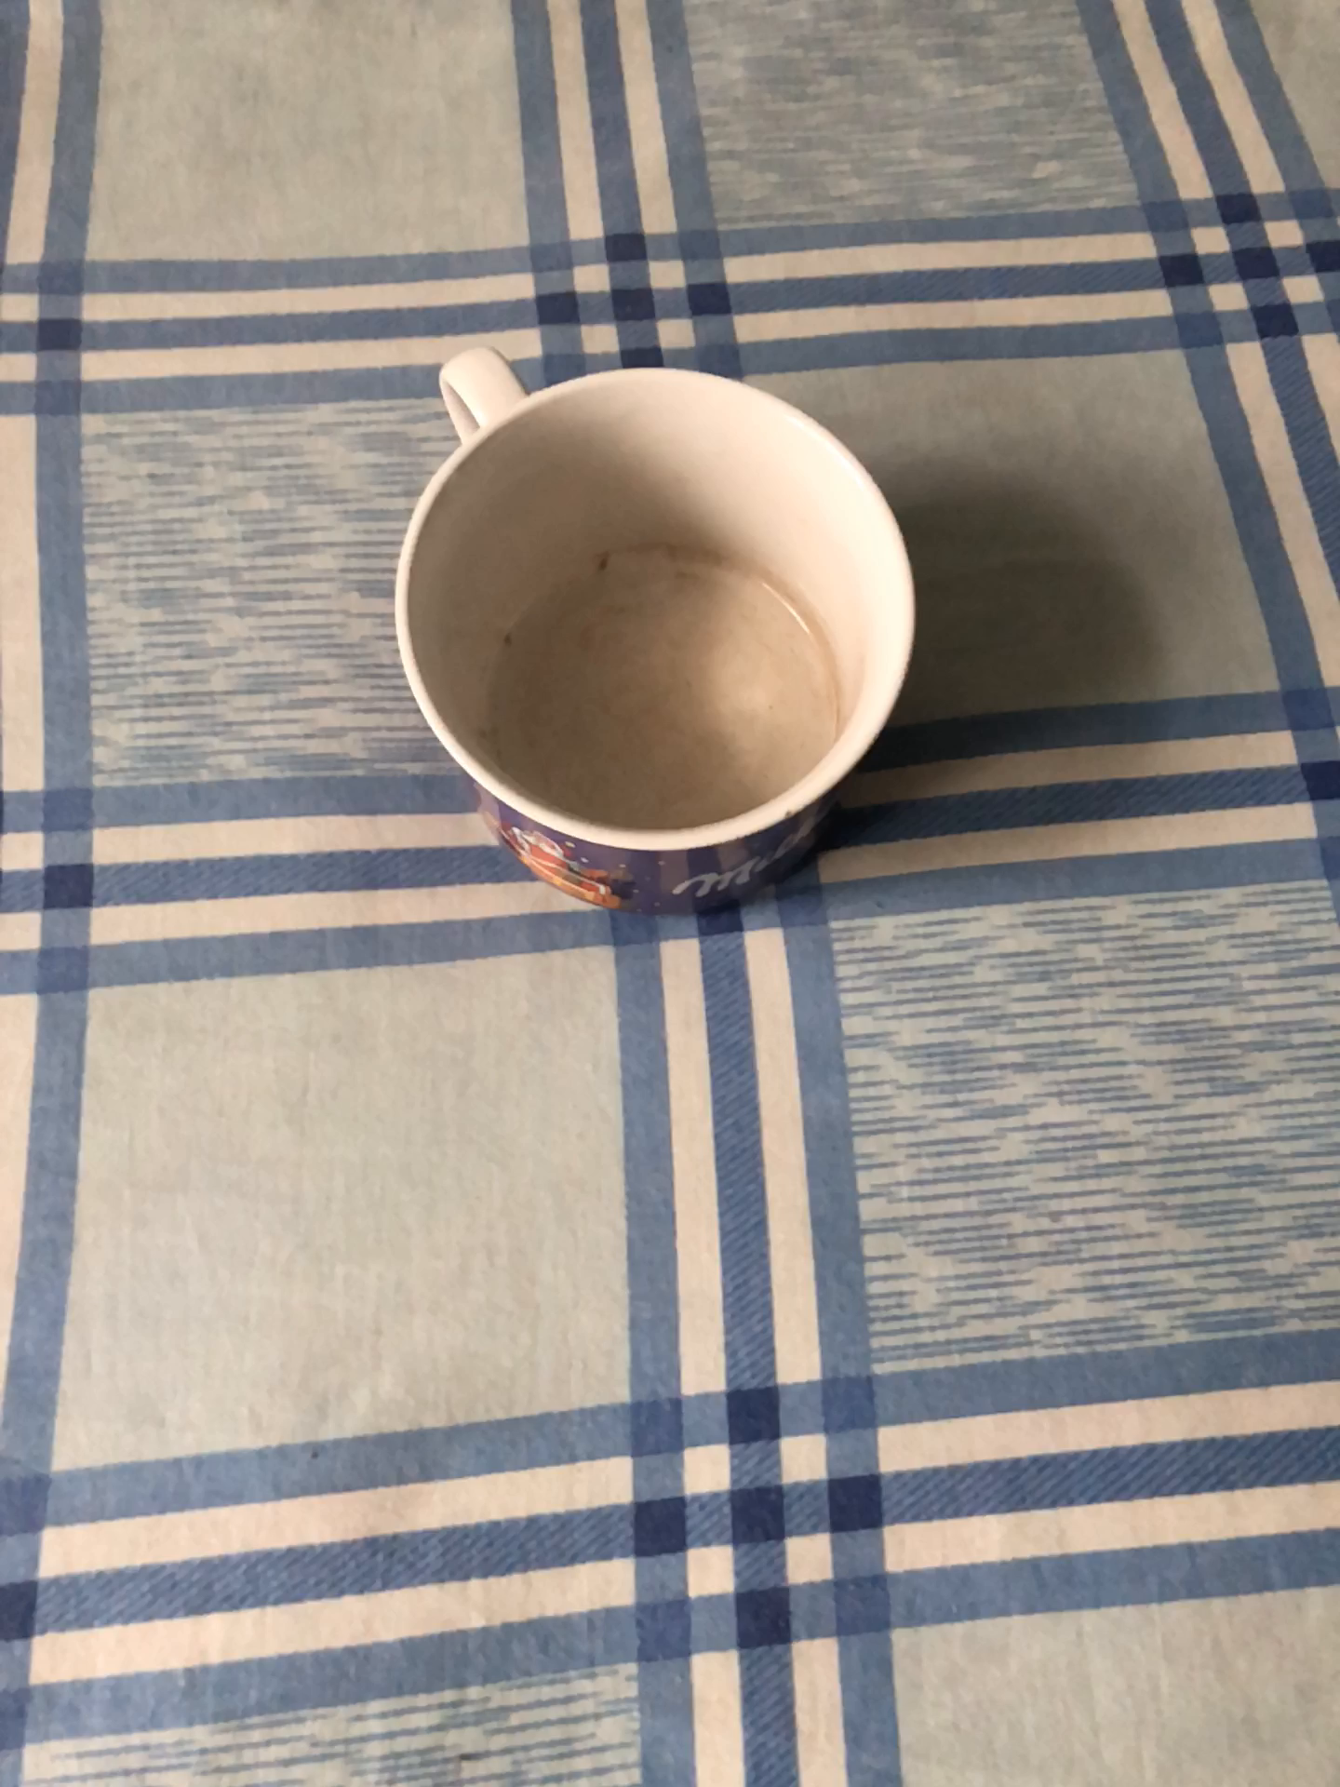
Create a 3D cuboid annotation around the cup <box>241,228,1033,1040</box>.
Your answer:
[{"bbox_3d":[-0.009,-0.056,0.326,0.104,0.063,0.130,-31,74,-12],"label":"cup"}]
